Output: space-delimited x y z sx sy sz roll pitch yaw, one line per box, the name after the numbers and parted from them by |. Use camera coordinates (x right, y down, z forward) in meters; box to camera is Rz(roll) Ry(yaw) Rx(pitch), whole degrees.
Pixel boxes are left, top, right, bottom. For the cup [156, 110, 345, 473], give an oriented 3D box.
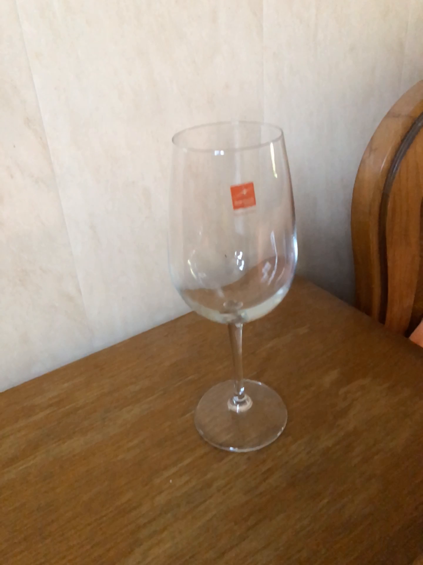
0.023 0.009 0.333 0.090 0.229 0.100 -8 29 -8 | cup
